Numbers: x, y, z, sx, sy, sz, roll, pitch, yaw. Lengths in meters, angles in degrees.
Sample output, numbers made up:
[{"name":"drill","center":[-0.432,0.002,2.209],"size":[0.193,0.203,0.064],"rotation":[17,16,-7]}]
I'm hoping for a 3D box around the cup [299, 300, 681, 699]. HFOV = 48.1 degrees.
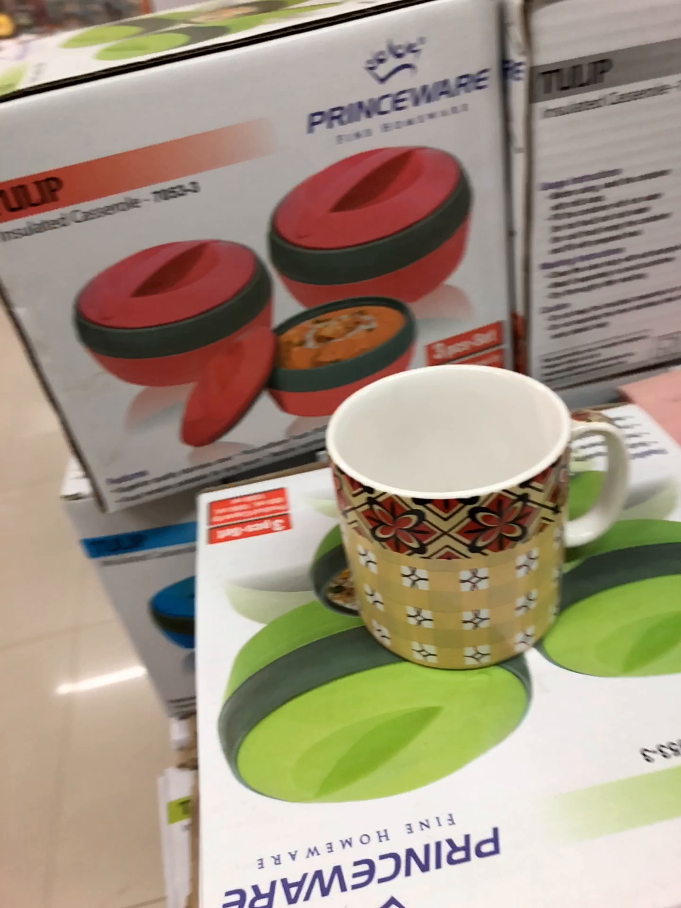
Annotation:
[{"name":"cup","center":[0.052,0.011,0.258],"size":[0.110,0.079,0.080],"rotation":[-13,34,-5]}]
